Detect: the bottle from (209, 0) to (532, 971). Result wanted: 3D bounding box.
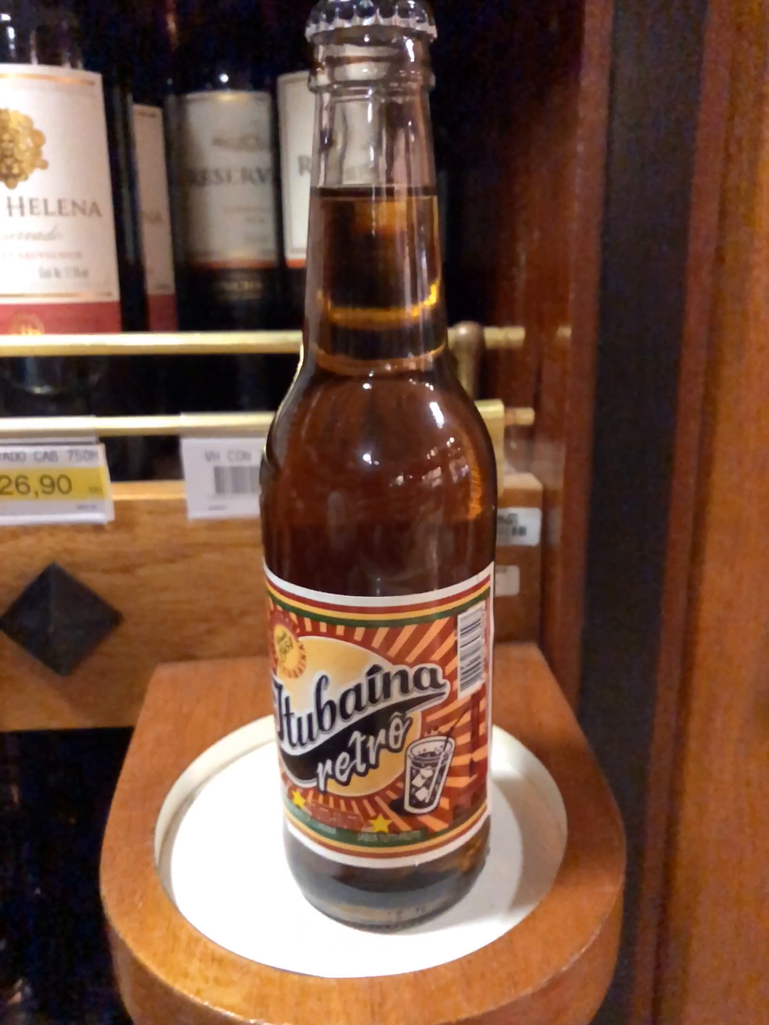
[{"bbox_3d":[0.003,-0.003,0.250,0.070,0.249,0.070,-1,14,0],"label":"bottle"}]
